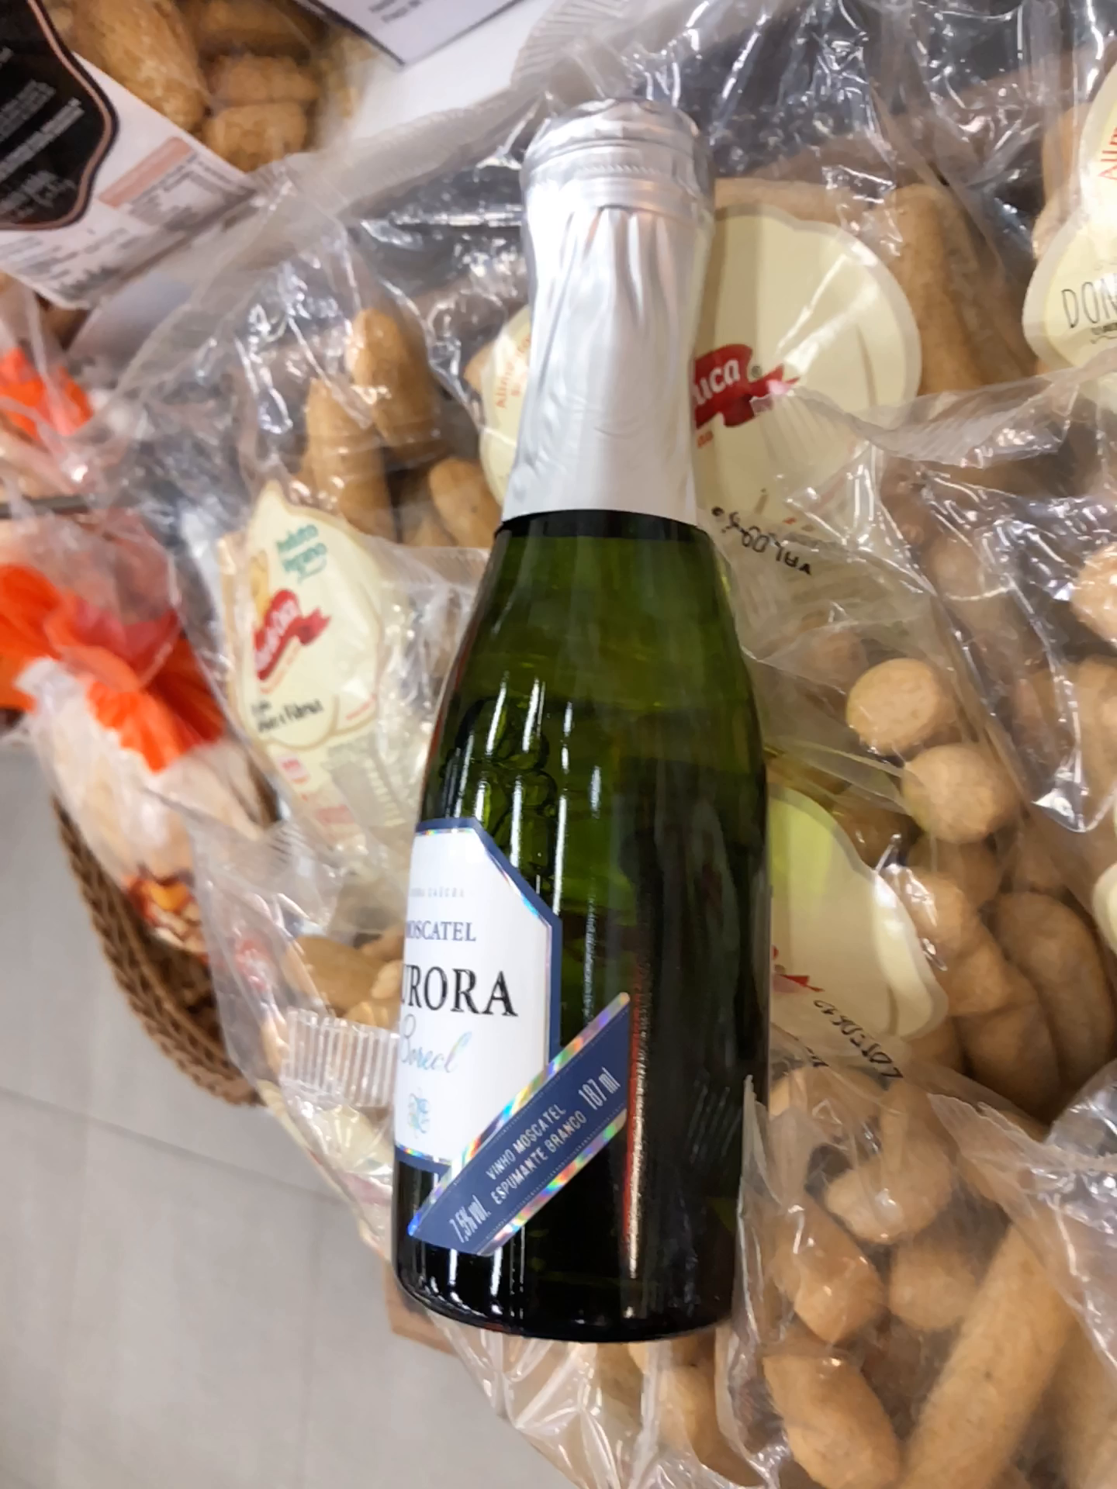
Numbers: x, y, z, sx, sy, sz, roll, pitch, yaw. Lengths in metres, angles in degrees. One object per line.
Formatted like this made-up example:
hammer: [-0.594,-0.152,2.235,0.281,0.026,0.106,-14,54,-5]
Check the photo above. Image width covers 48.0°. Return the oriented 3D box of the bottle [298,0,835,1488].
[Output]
bottle: [0.002,-0.004,0.191,0.060,0.050,0.200,-1,87,40]
